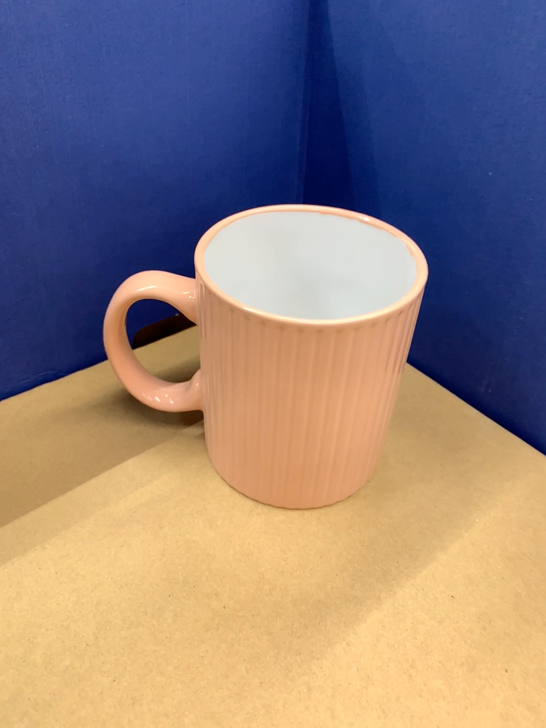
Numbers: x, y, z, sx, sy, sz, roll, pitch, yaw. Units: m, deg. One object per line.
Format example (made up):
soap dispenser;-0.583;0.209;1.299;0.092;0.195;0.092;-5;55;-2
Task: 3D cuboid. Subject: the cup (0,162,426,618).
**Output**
cup;-0.038;0.004;0.221;0.154;0.128;0.102;5;30;3
